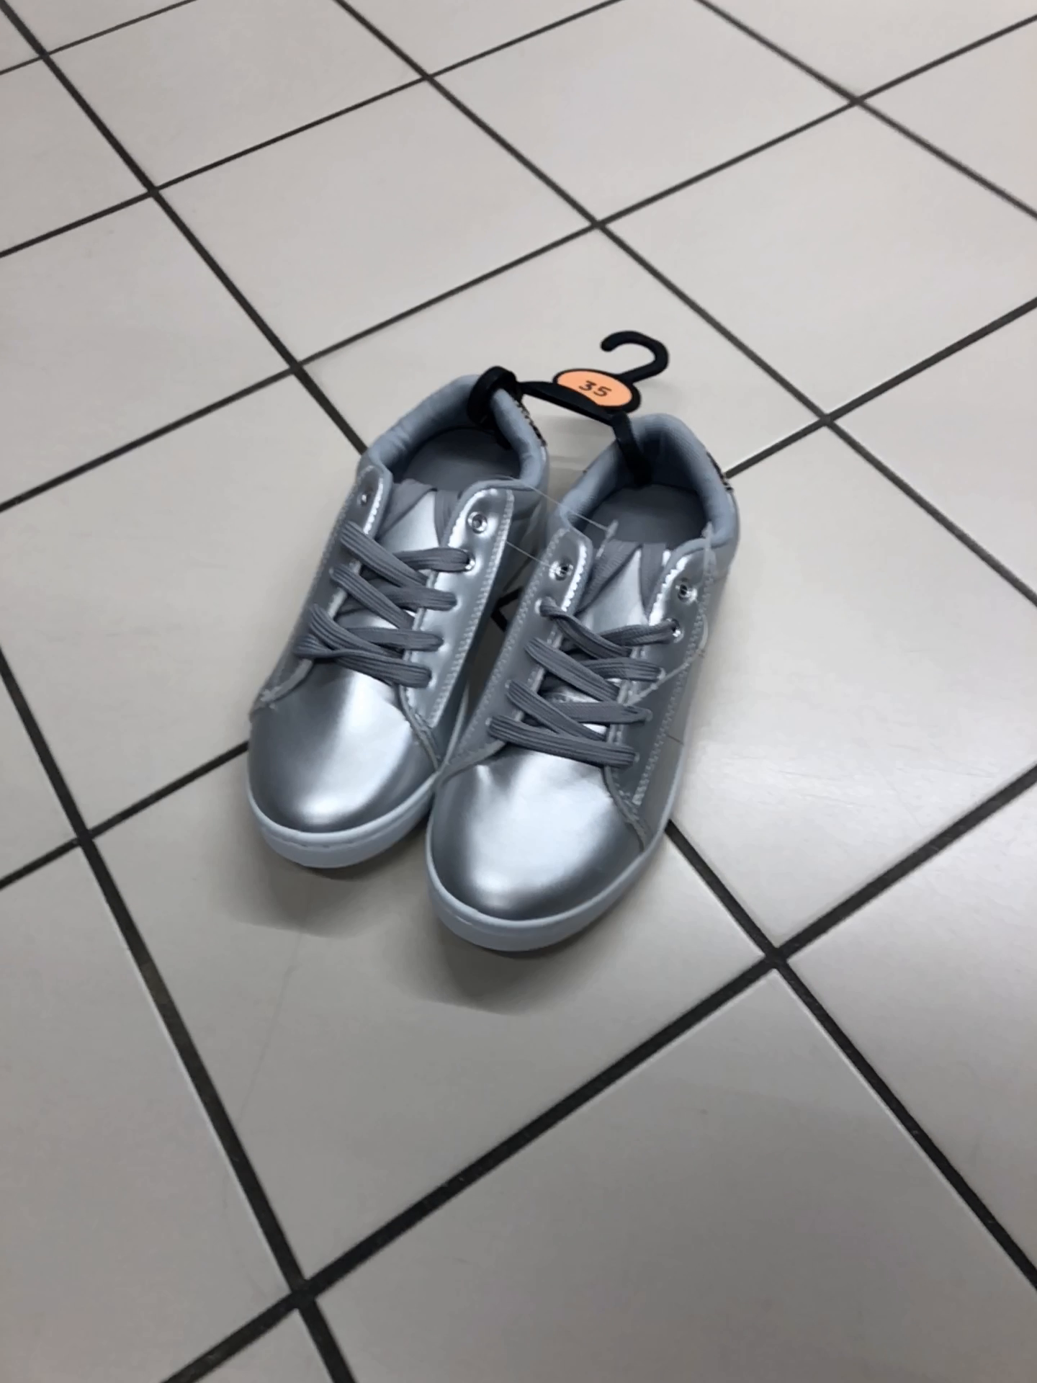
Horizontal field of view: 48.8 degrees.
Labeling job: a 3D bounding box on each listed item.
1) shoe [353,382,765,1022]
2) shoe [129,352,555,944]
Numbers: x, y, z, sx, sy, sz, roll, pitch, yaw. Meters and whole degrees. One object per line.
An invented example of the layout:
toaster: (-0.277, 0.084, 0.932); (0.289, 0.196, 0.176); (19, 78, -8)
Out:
shoe: (0.027, -0.004, 0.457); (0.090, 0.090, 0.231); (13, 59, 12)
shoe: (-0.059, -0.026, 0.487); (0.090, 0.090, 0.231); (11, 59, 11)
